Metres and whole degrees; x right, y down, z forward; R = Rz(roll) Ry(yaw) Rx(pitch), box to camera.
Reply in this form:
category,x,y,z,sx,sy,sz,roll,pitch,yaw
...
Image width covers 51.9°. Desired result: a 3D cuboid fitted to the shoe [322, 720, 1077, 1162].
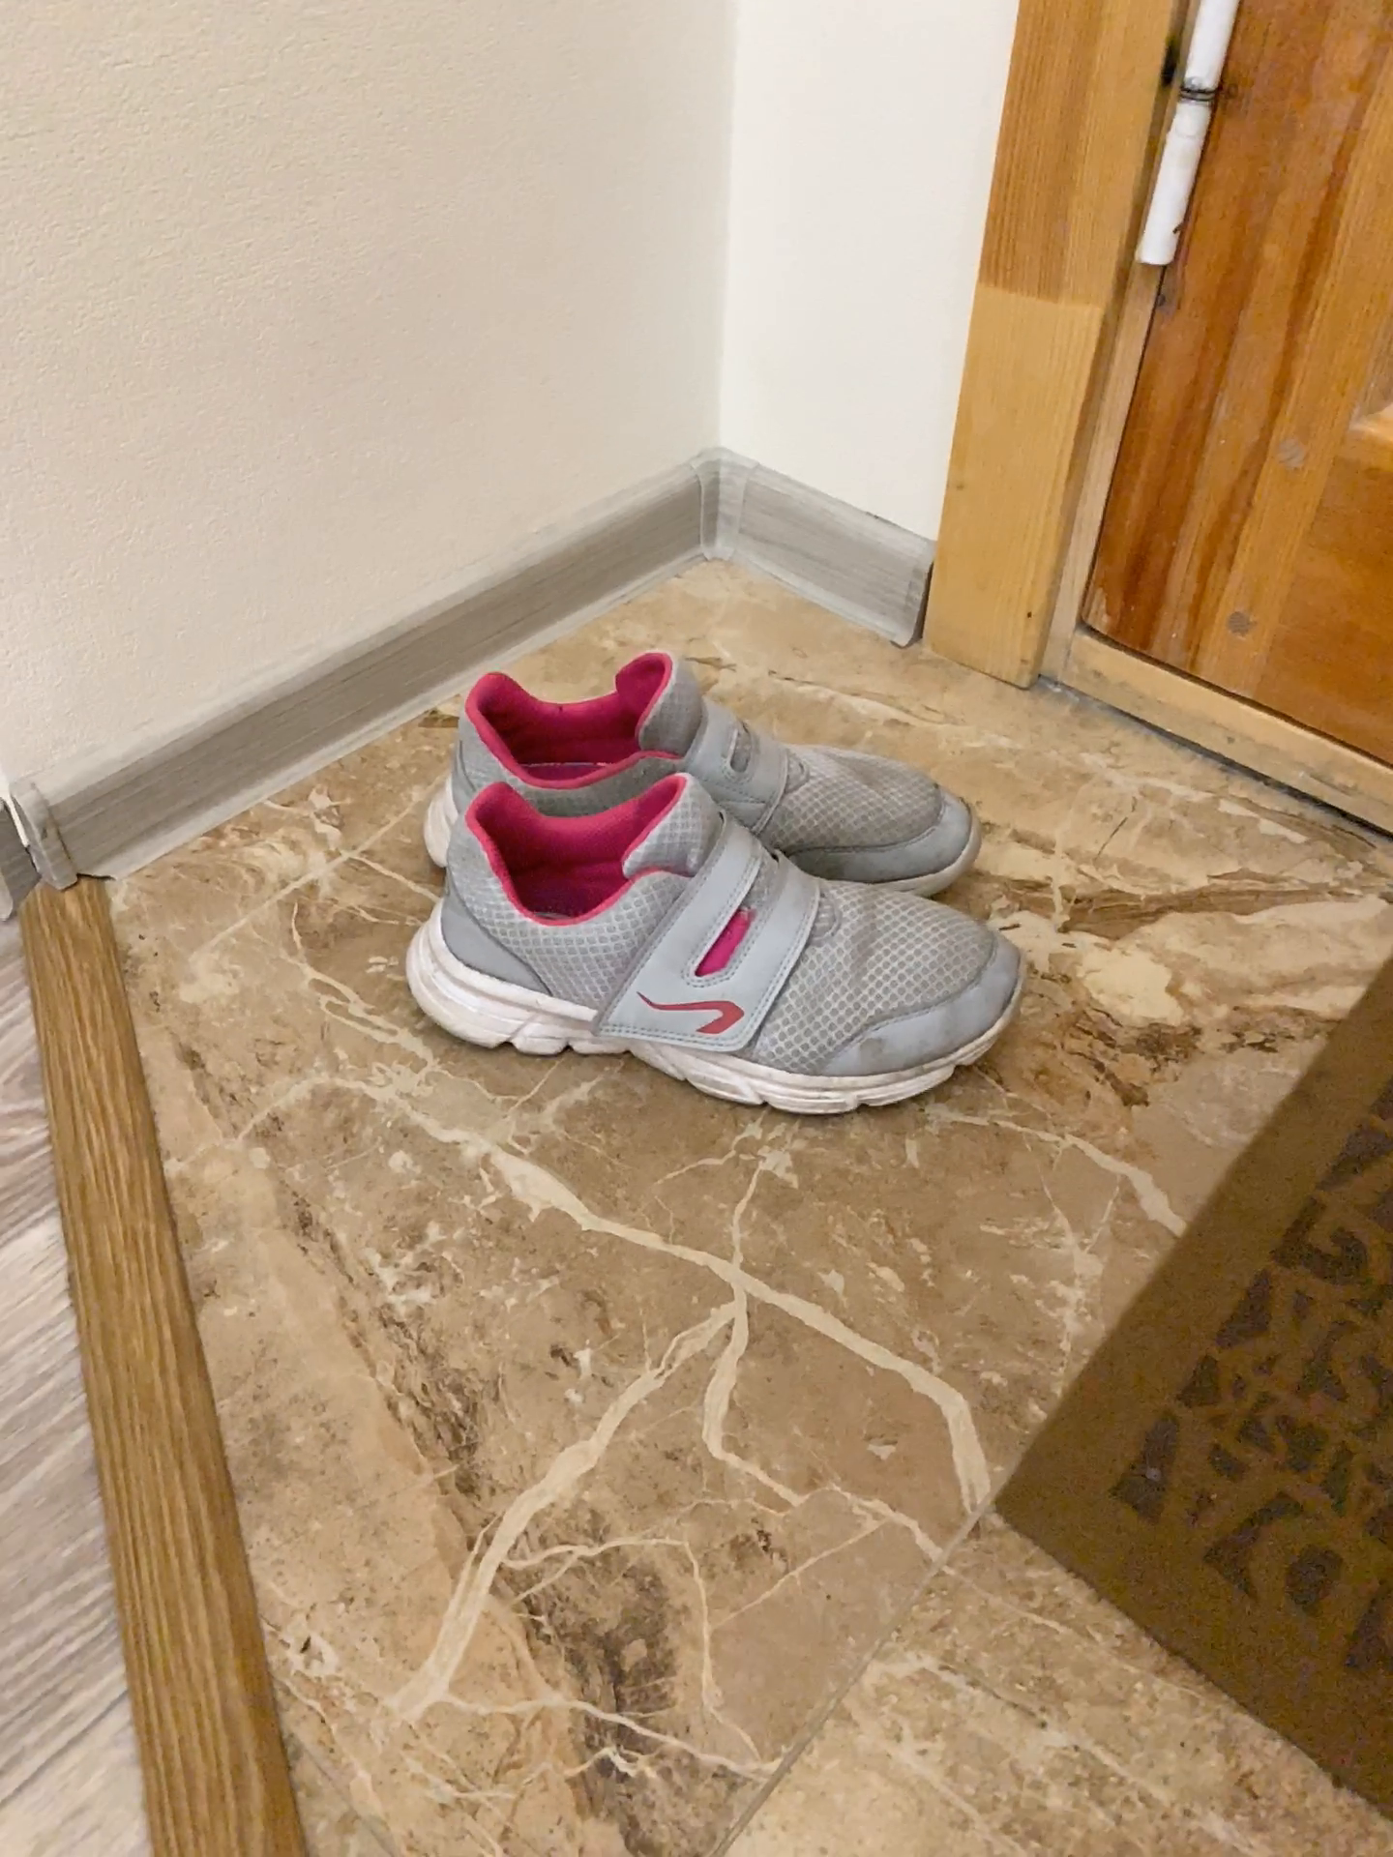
category,x,y,z,sx,sy,sz,roll,pitch,yaw
shoe,0.004,0.003,0.558,0.260,0.099,0.101,7,43,5

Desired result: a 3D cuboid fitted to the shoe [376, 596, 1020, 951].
category,x,y,z,sx,sy,sz,roll,pitch,yaw
shoe,0.001,-0.068,0.625,0.250,0.099,0.101,3,43,1
